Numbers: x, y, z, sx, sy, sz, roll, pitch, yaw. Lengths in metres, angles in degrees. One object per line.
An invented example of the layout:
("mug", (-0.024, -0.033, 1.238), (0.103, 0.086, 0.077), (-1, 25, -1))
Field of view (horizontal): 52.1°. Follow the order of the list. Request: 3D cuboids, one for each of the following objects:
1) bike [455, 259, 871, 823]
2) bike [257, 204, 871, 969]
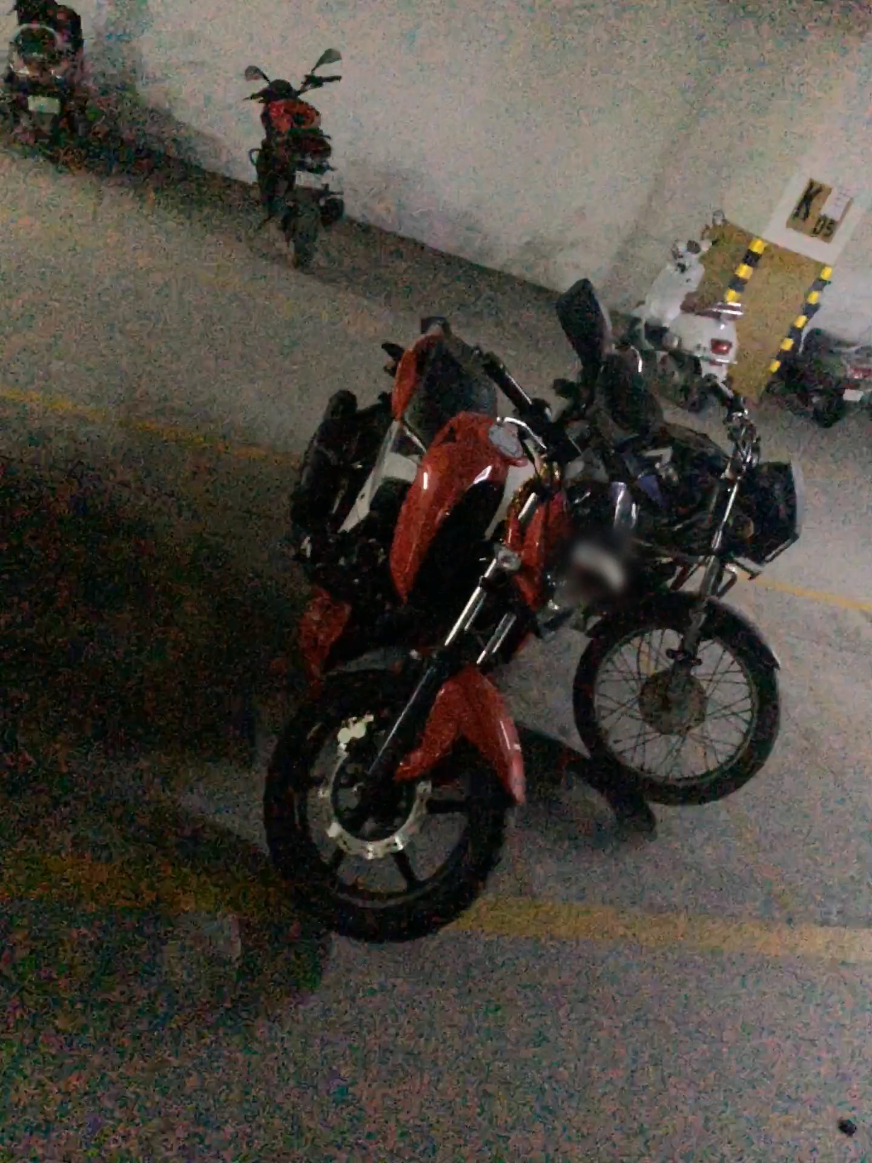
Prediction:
("bike", (0.752, -0.206, 2.884), (0.674, 0.934, 1.572), (9, 33, -25))
("bike", (0.134, -0.084, 2.391), (0.802, 1.006, 1.699), (9, 35, -25))
